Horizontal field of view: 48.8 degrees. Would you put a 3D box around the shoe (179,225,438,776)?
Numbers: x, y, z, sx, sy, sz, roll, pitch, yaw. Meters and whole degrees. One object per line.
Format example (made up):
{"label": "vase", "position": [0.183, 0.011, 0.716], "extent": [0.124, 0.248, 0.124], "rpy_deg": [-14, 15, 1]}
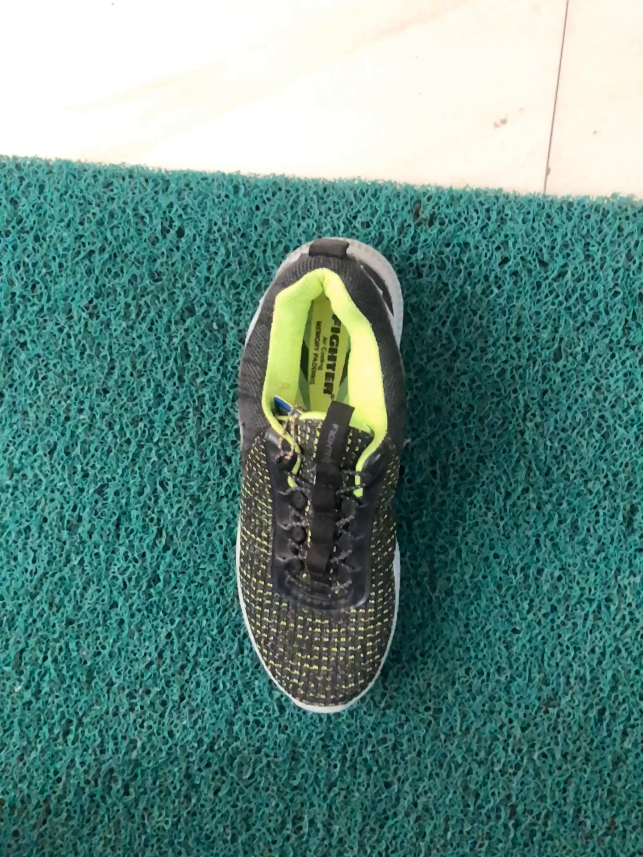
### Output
{"label": "shoe", "position": [-0.003, 0.035, 0.403], "extent": [0.110, 0.090, 0.270], "rpy_deg": [5, 91, 6]}
